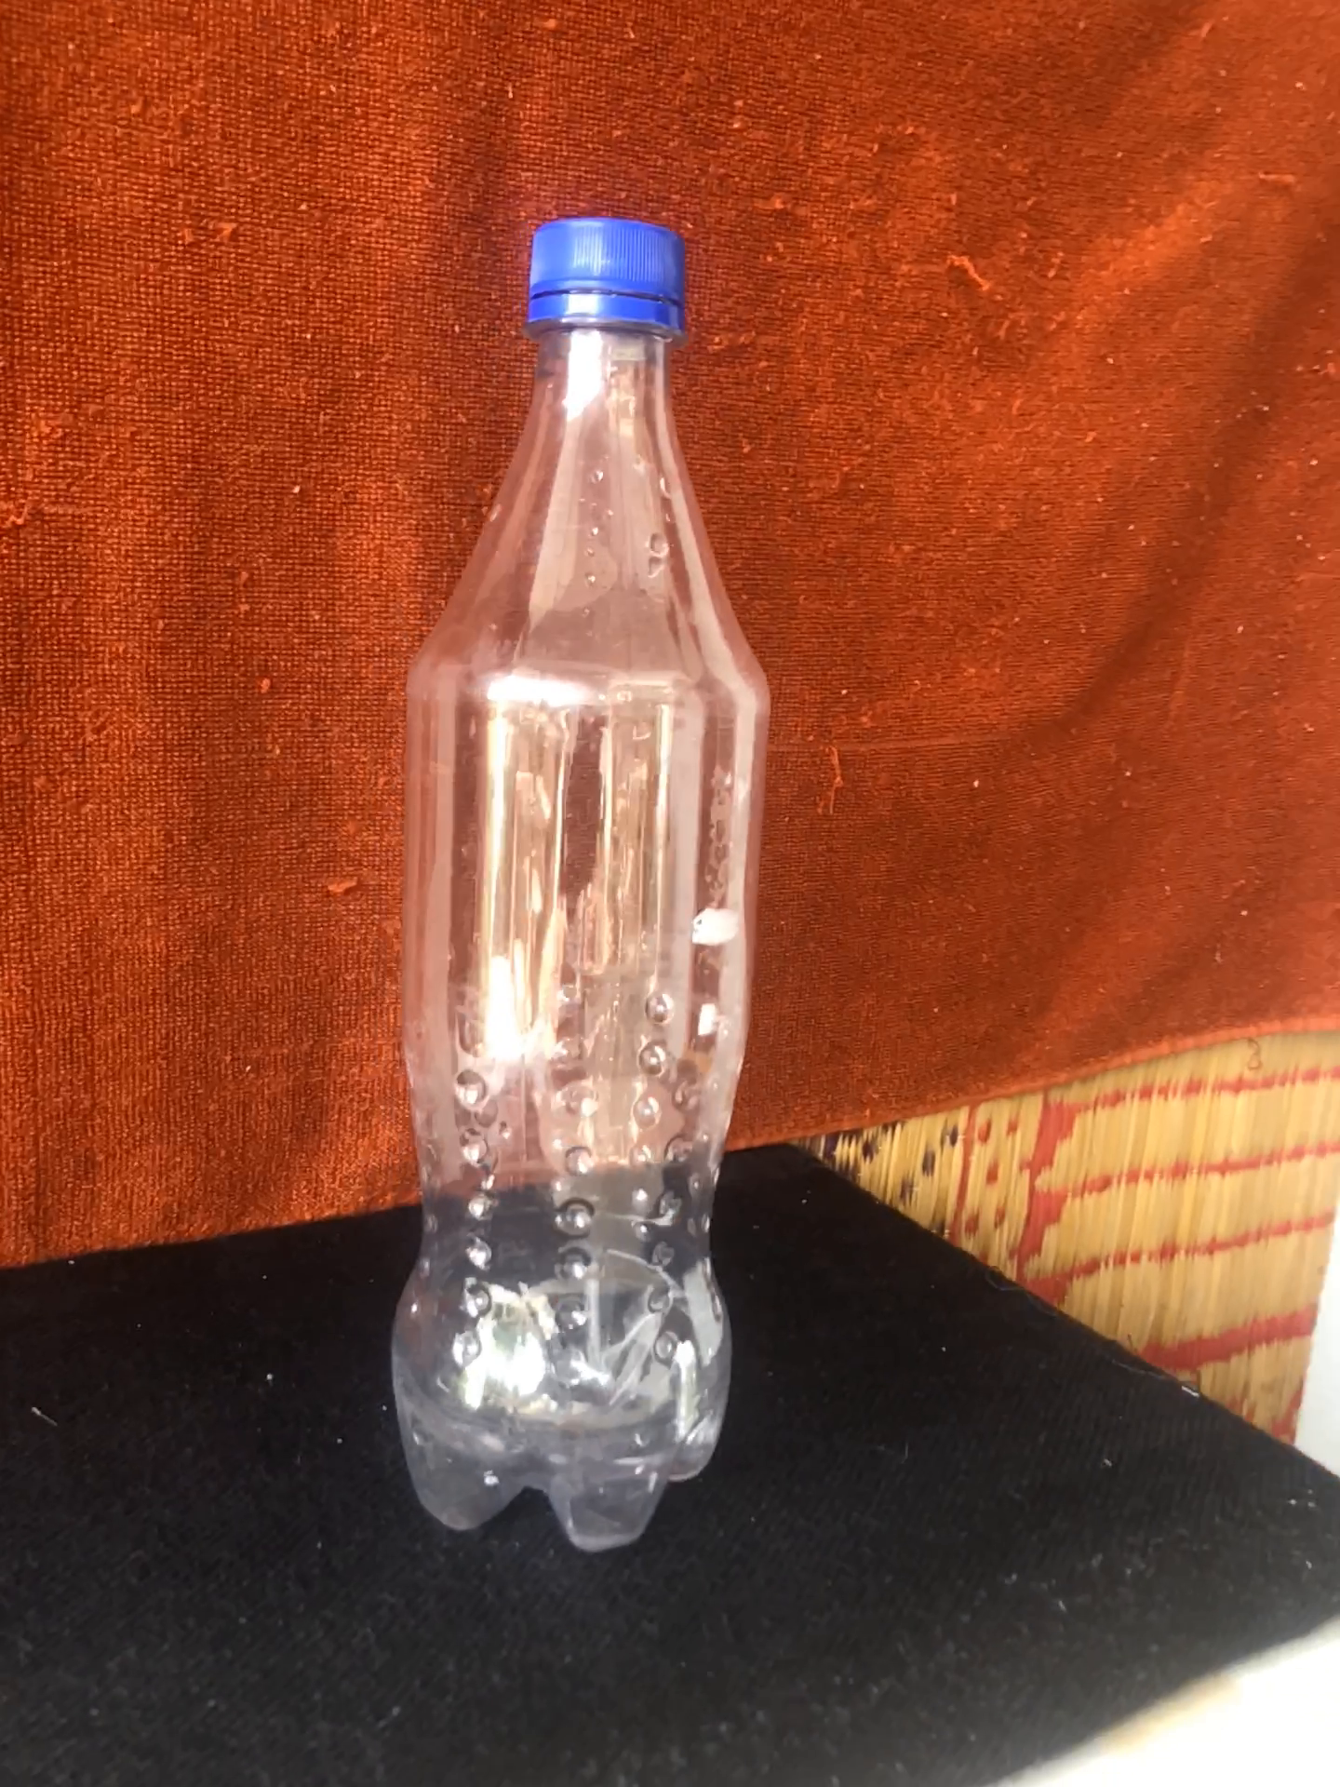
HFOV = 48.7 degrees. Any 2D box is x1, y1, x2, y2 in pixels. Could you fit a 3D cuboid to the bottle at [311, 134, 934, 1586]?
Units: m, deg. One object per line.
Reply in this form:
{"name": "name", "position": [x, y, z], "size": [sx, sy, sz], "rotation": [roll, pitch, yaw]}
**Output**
{"name": "bottle", "position": [-0.011, -0.003, 0.296], "size": [0.090, 0.249, 0.080], "rotation": [6, 13, 4]}
